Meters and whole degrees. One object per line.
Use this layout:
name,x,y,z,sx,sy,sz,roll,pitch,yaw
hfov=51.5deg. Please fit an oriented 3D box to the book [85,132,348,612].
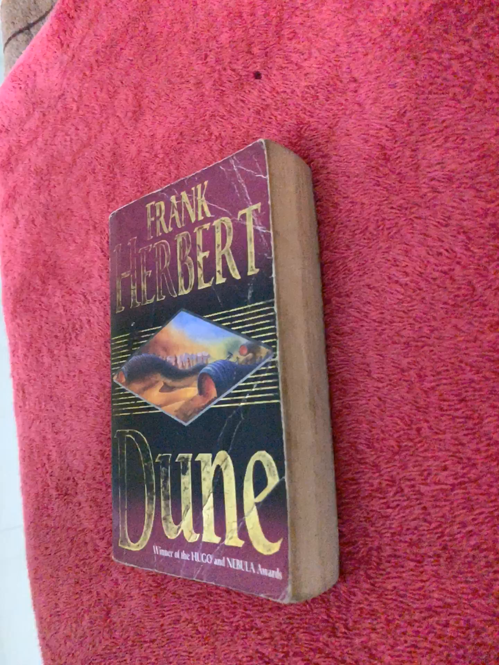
book,-0.023,0.017,0.228,0.115,0.039,0.165,-12,76,41
